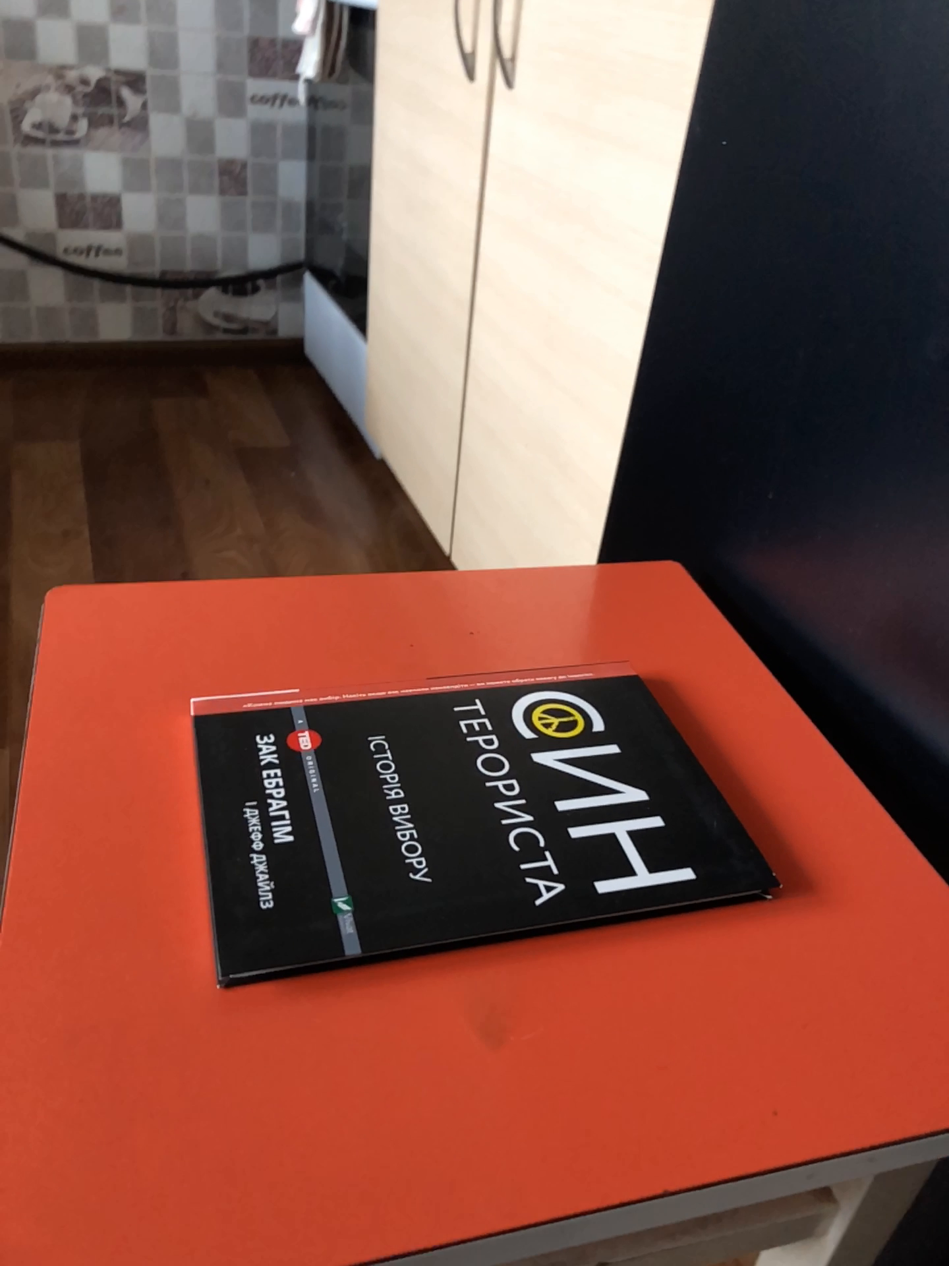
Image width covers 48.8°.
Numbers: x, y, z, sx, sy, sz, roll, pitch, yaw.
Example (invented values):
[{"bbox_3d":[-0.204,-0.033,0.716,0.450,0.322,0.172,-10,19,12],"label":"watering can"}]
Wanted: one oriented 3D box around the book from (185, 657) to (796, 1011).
[{"bbox_3d":[-0.004,0.064,0.410,0.205,0.013,0.151,-4,34,-16],"label":"book"}]
